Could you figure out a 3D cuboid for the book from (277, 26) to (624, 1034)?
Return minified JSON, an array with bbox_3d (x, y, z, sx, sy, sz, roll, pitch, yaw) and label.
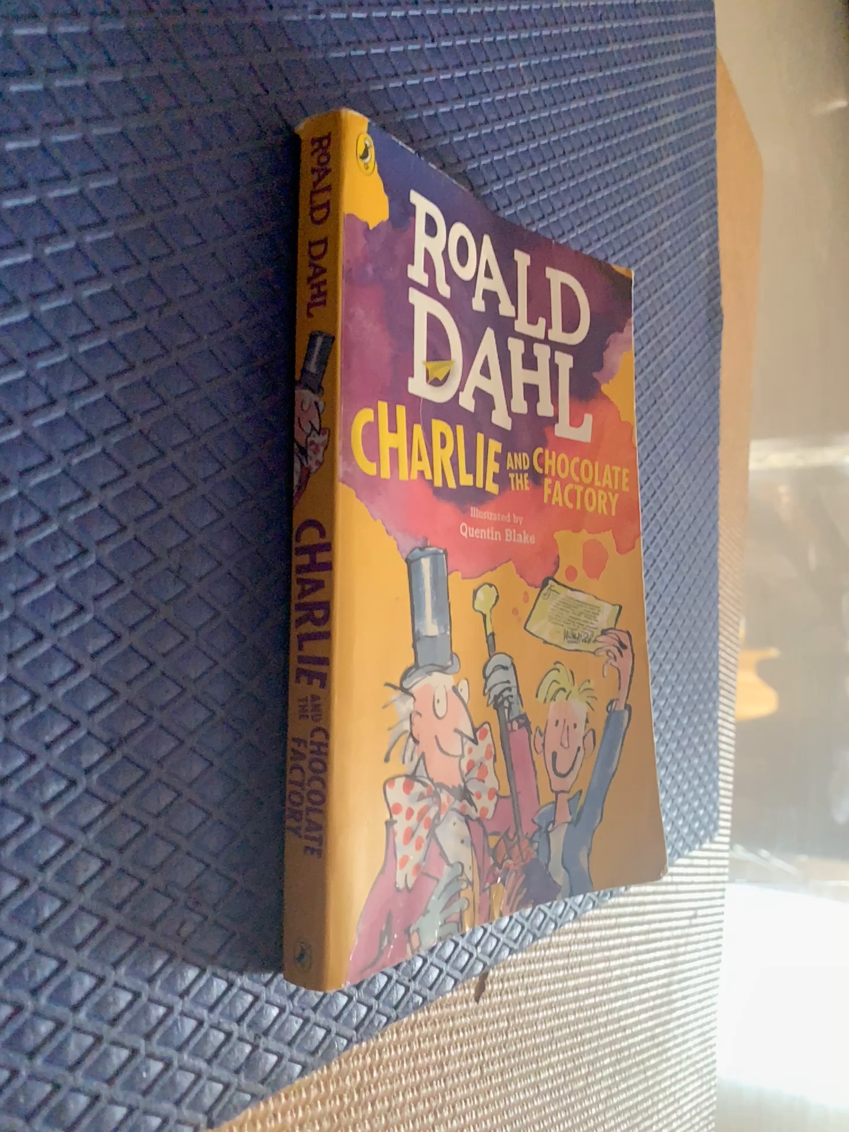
[{"bbox_3d":[0.018,-0.007,0.247,0.141,0.020,0.210,5,84,-55],"label":"book"}]
